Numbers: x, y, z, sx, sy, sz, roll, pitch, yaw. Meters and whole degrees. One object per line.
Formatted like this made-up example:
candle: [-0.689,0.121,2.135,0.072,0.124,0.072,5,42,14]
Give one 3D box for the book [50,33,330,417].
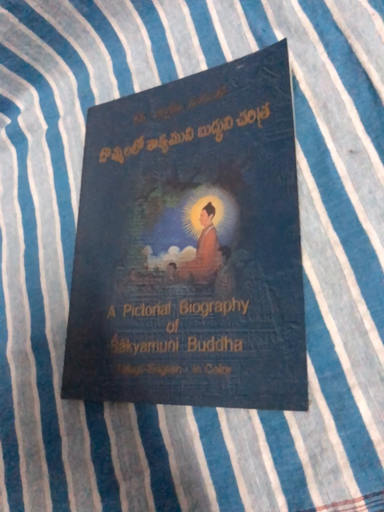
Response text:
book: [-0.008,-0.019,0.275,0.170,0.020,0.220,-7,72,26]
